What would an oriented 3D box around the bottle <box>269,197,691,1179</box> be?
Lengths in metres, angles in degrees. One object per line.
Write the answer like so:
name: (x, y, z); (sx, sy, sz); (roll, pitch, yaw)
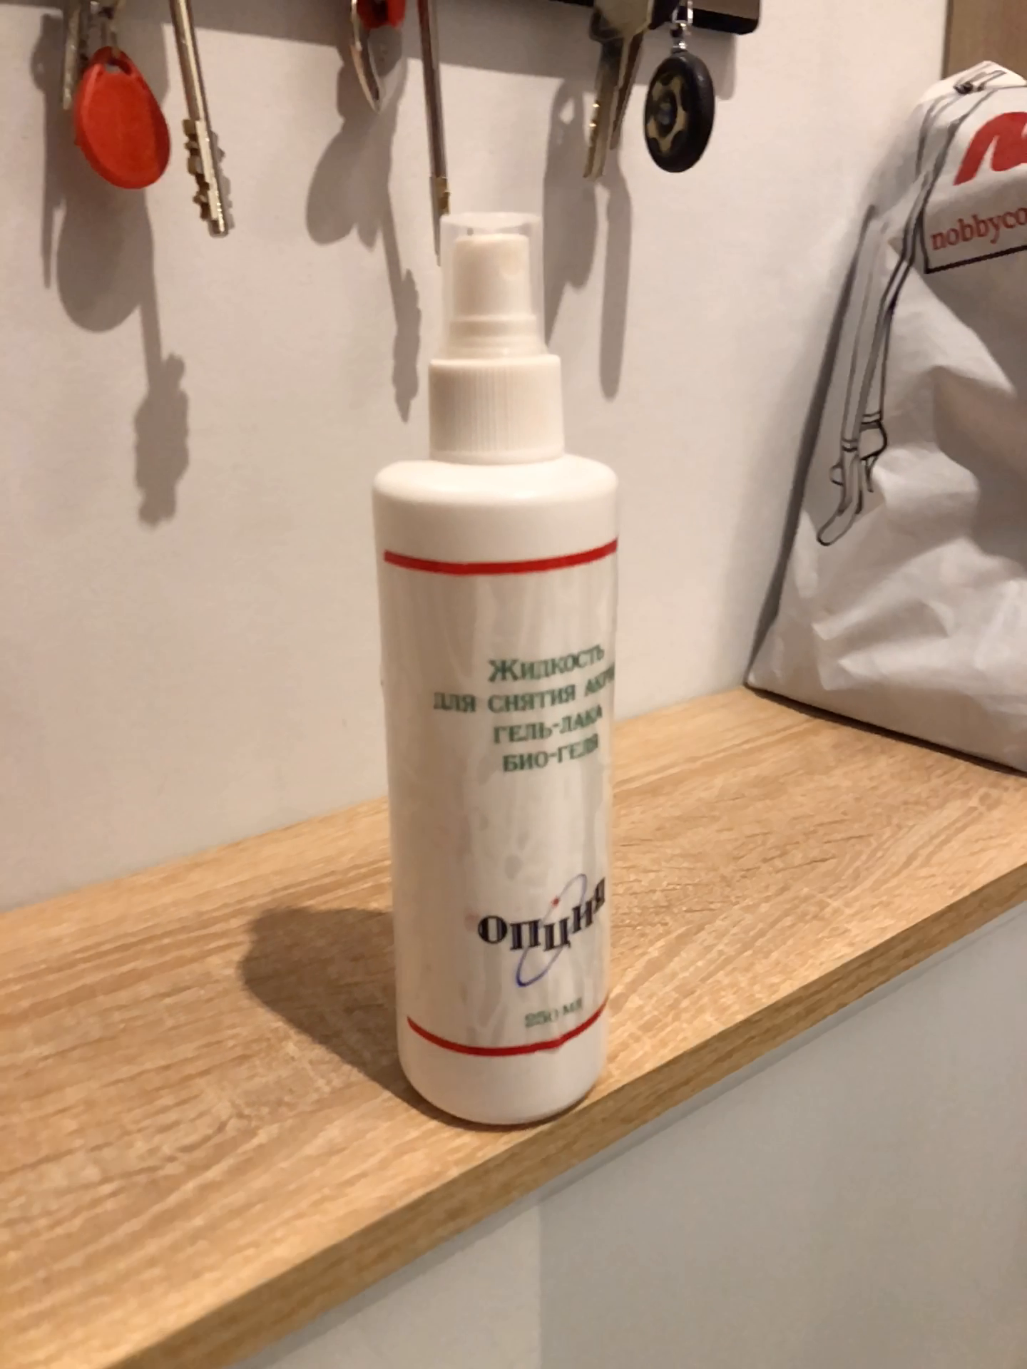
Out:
bottle: (-0.007, 0.000, 0.237); (0.056, 0.183, 0.059); (-1, 19, 0)
